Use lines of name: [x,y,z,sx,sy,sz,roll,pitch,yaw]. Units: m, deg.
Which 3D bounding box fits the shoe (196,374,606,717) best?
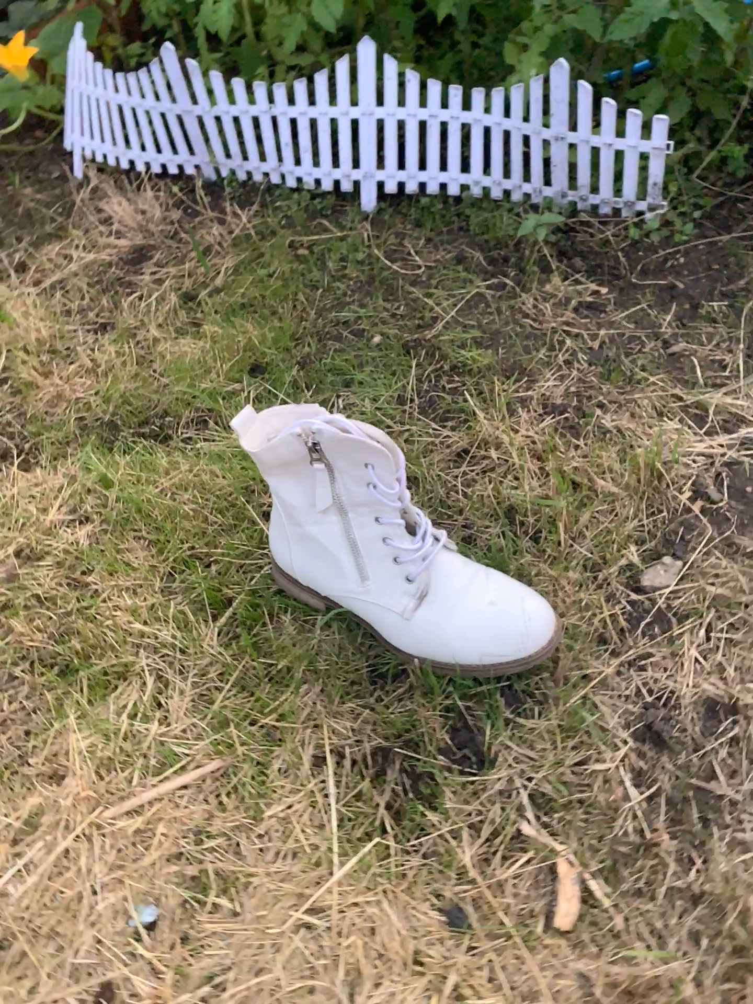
shoe: [0.021,0.030,0.585,0.261,0.178,0.101,17,53,23]
